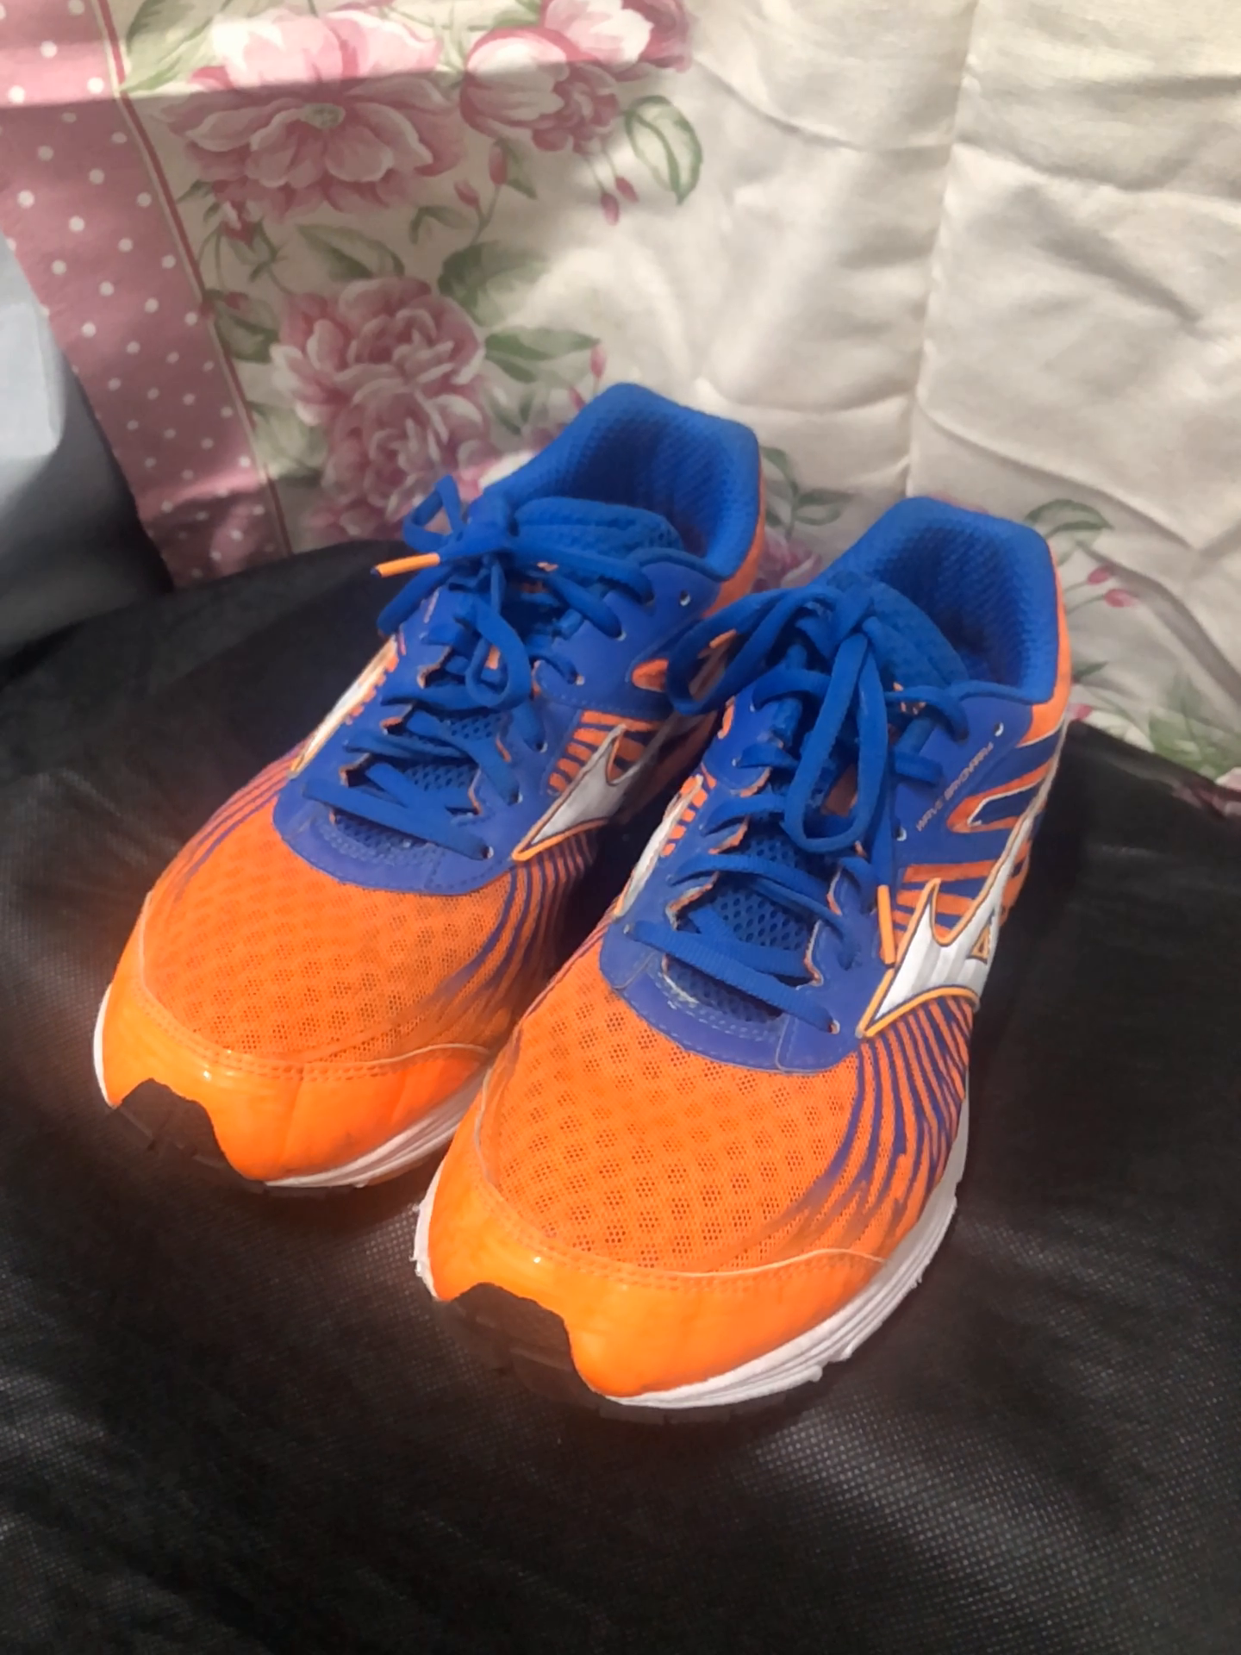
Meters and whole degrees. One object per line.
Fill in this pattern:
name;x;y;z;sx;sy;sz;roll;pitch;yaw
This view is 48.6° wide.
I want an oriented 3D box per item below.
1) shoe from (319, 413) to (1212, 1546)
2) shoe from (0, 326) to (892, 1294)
shoe;0.044;0.011;0.313;0.110;0.109;0.222;22;42;15
shoe;-0.030;-0.025;0.346;0.110;0.109;0.222;22;42;15
